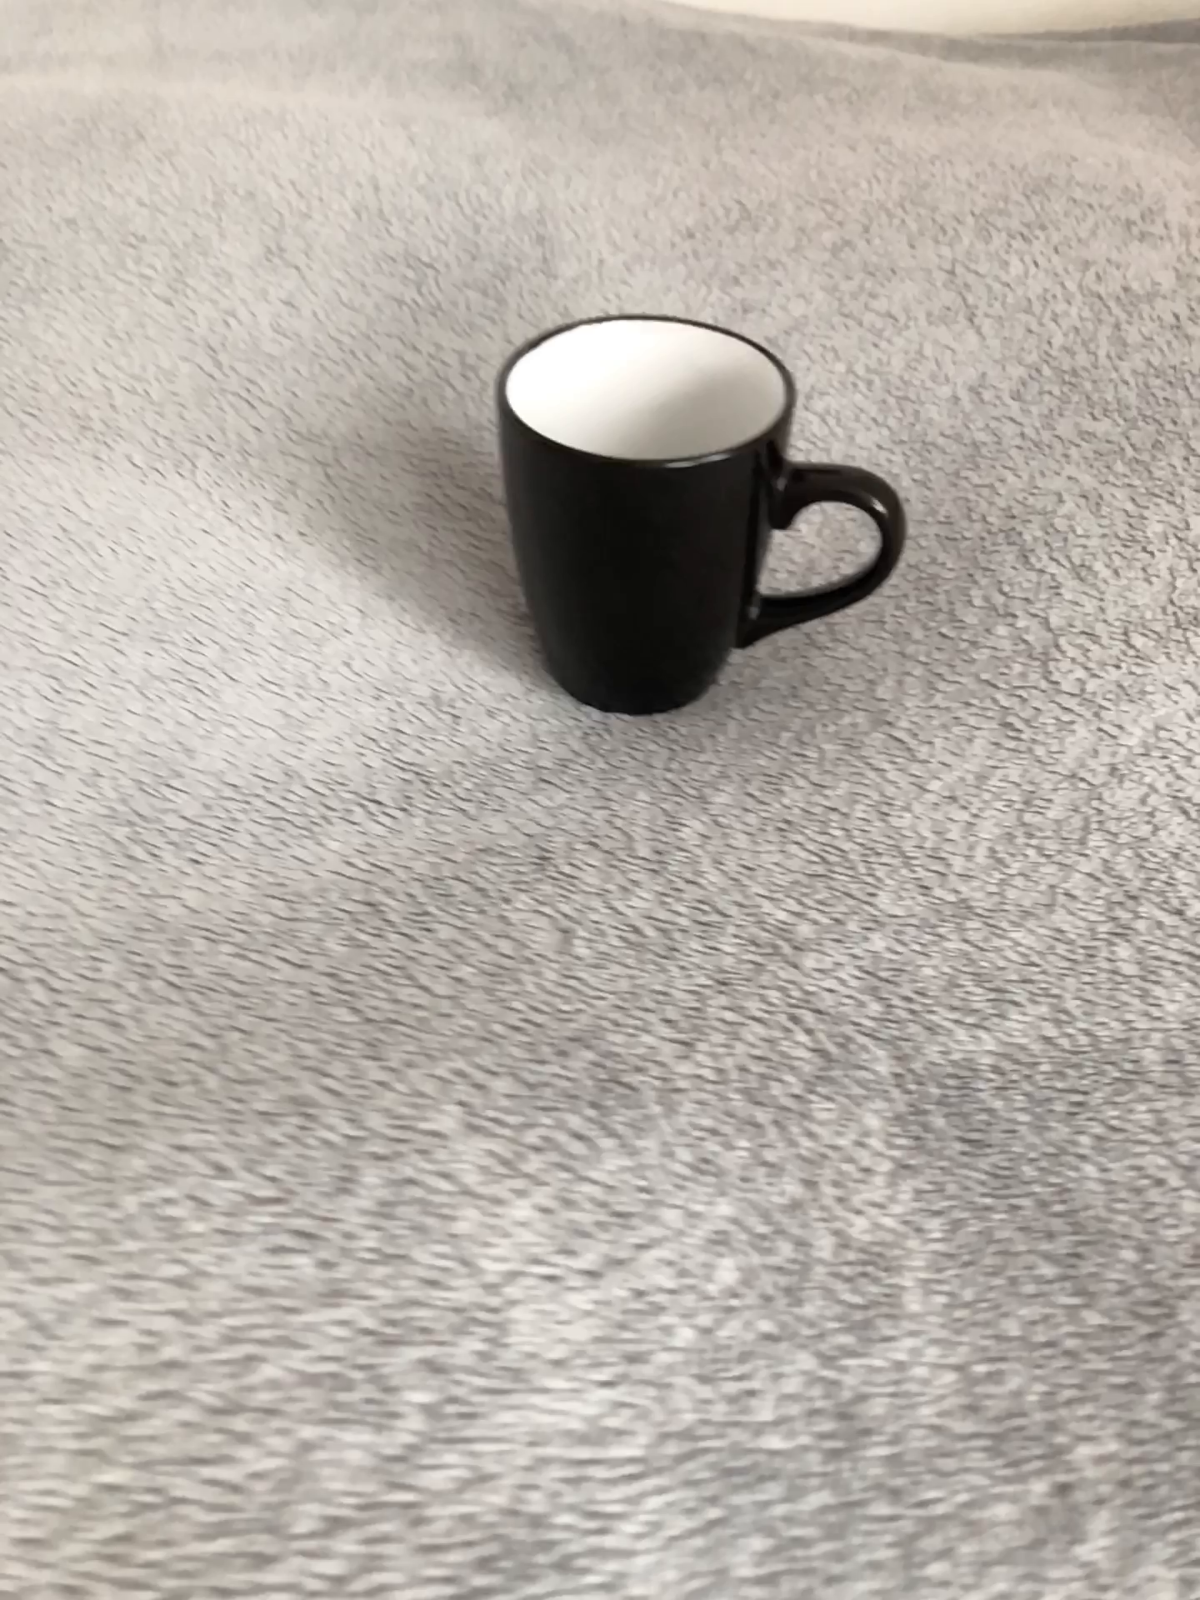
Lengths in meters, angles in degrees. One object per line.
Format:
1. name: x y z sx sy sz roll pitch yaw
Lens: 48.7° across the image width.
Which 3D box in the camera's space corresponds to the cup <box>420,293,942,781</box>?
1. cup: 0.025 -0.083 0.403 0.128 0.089 0.091 14 44 12
